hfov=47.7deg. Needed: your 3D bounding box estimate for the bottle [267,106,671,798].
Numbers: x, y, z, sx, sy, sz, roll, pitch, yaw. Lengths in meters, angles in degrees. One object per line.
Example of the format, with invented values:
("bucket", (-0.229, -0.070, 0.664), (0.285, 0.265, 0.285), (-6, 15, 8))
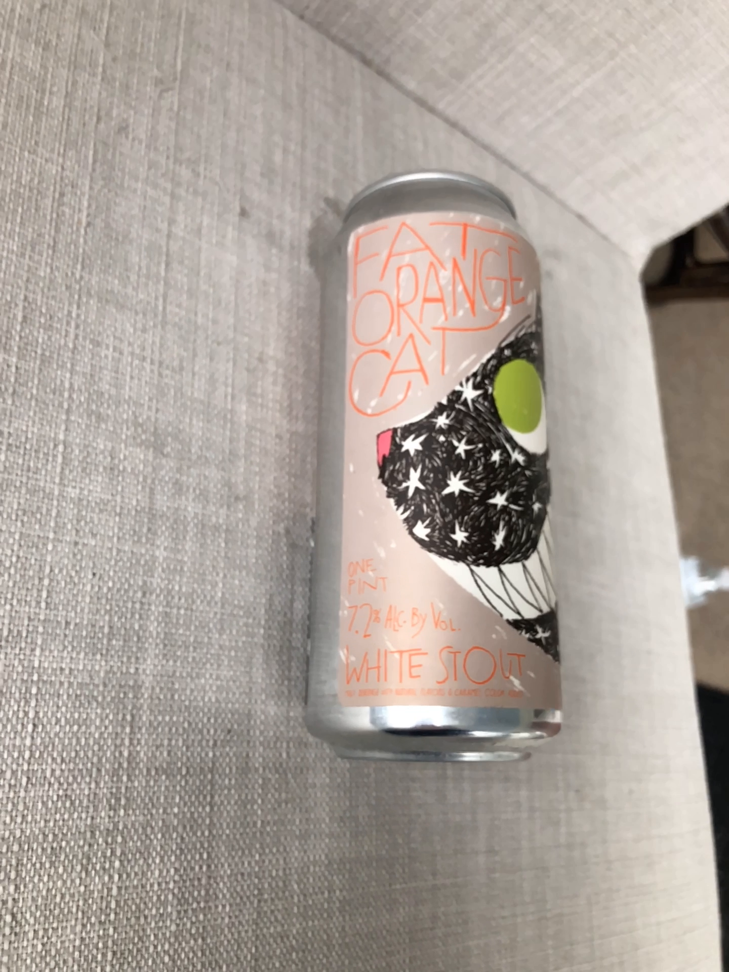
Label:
("bottle", (0.028, -0.003, 0.220), (0.070, 0.069, 0.150), (15, 71, -42))
